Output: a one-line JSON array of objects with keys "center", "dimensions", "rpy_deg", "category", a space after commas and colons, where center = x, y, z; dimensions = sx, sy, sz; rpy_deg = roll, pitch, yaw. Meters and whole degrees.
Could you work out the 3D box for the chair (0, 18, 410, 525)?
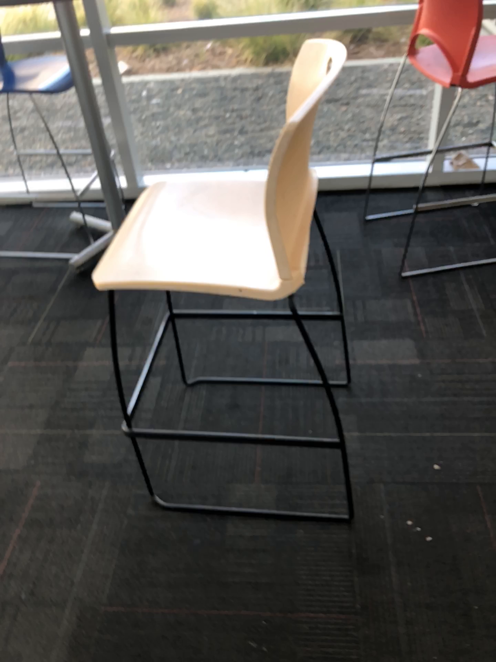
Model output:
[{"center": [-0.065, -0.095, 1.322], "dimensions": [0.720, 0.995, 0.583], "rpy_deg": [0, 40, 8], "category": "chair"}]
